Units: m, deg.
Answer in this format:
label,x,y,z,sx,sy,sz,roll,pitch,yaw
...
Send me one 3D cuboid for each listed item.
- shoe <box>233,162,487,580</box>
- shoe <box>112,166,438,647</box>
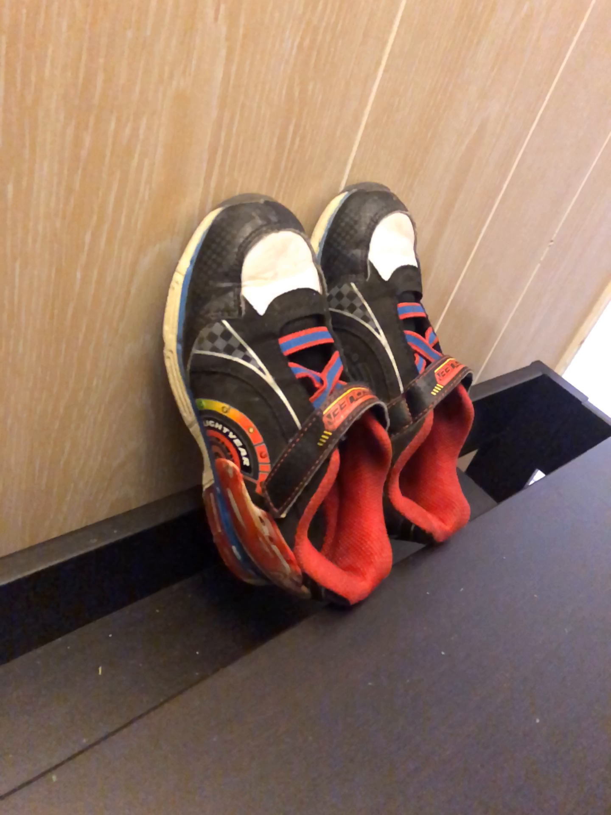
label,x,y,z,sx,sy,sz,roll,pitch,yaw
shoe,0.034,-0.024,0.386,0.090,0.210,0.070,-16,9,-40
shoe,-0.012,-0.005,0.326,0.090,0.200,0.070,-18,7,-41
